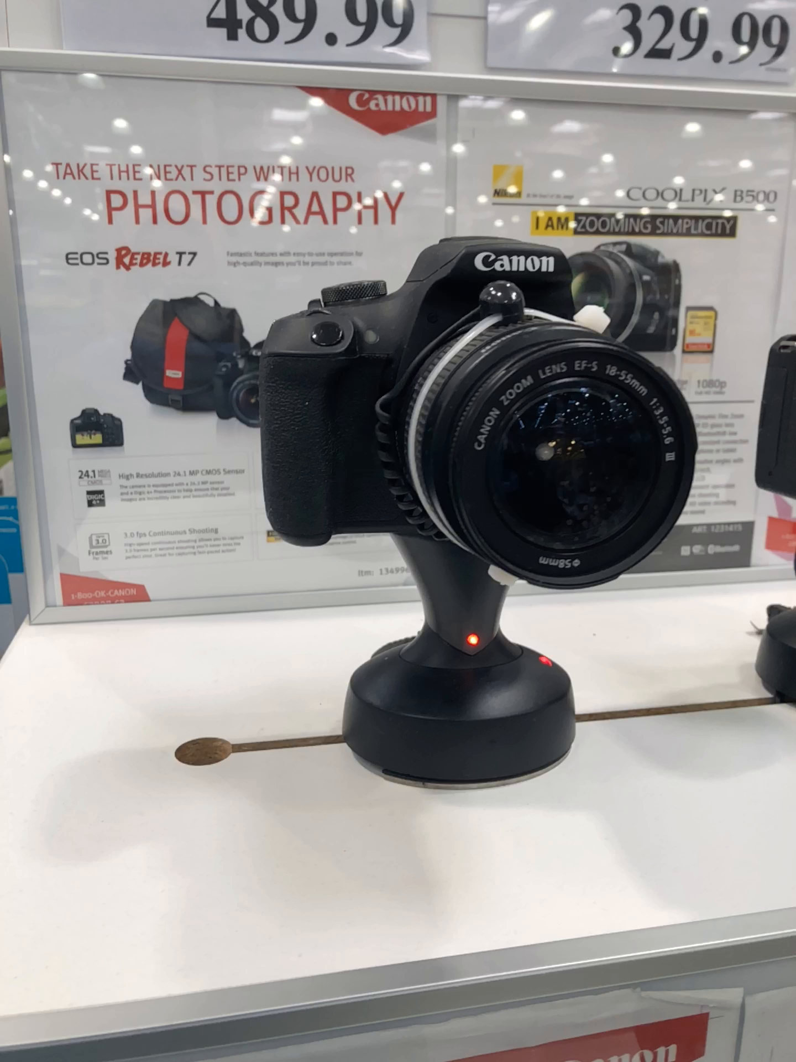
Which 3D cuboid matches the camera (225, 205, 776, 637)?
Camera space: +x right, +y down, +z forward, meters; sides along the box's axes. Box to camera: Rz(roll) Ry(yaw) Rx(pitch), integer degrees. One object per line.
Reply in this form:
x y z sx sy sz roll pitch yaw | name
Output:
0.018 -0.041 0.277 0.130 0.100 0.120 -3 15 -13 | camera
